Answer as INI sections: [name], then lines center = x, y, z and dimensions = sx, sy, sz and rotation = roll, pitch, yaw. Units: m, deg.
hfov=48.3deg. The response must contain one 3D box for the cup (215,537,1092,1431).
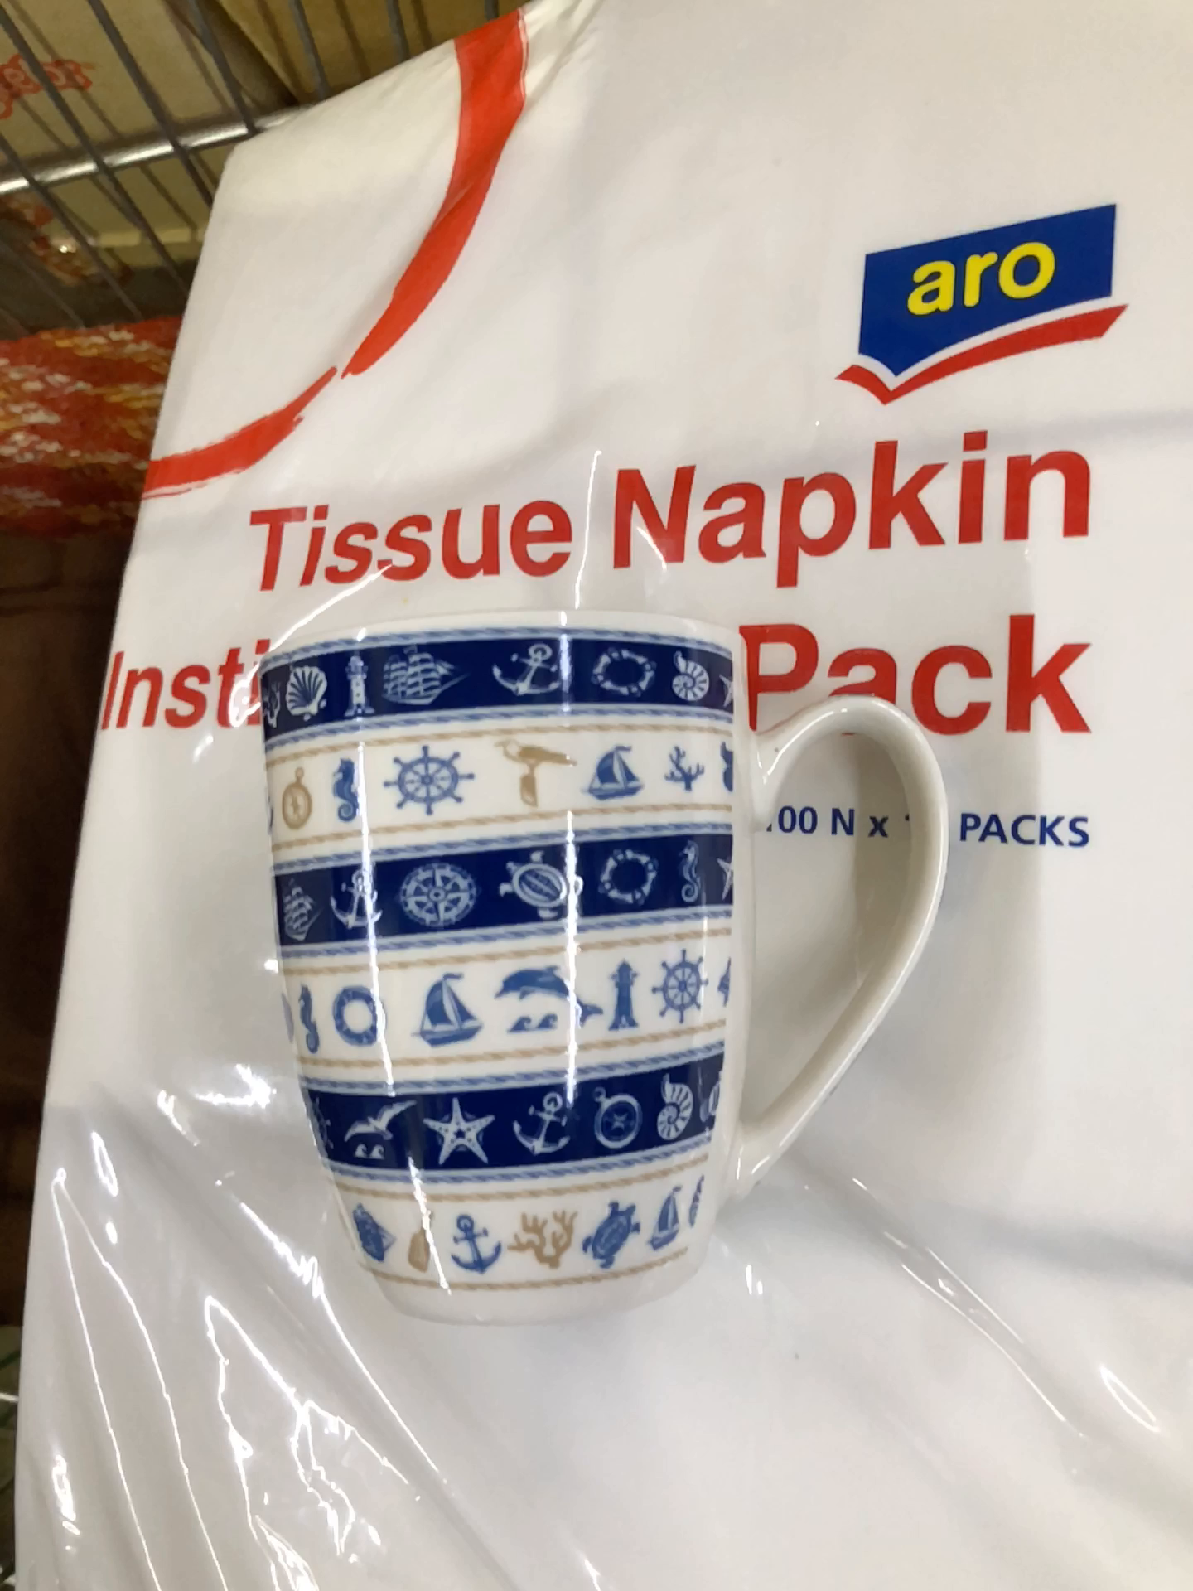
[cup]
center = 0.001, 0.023, 0.220
dimensions = 0.120, 0.080, 0.110
rotation = 1, 86, -17
